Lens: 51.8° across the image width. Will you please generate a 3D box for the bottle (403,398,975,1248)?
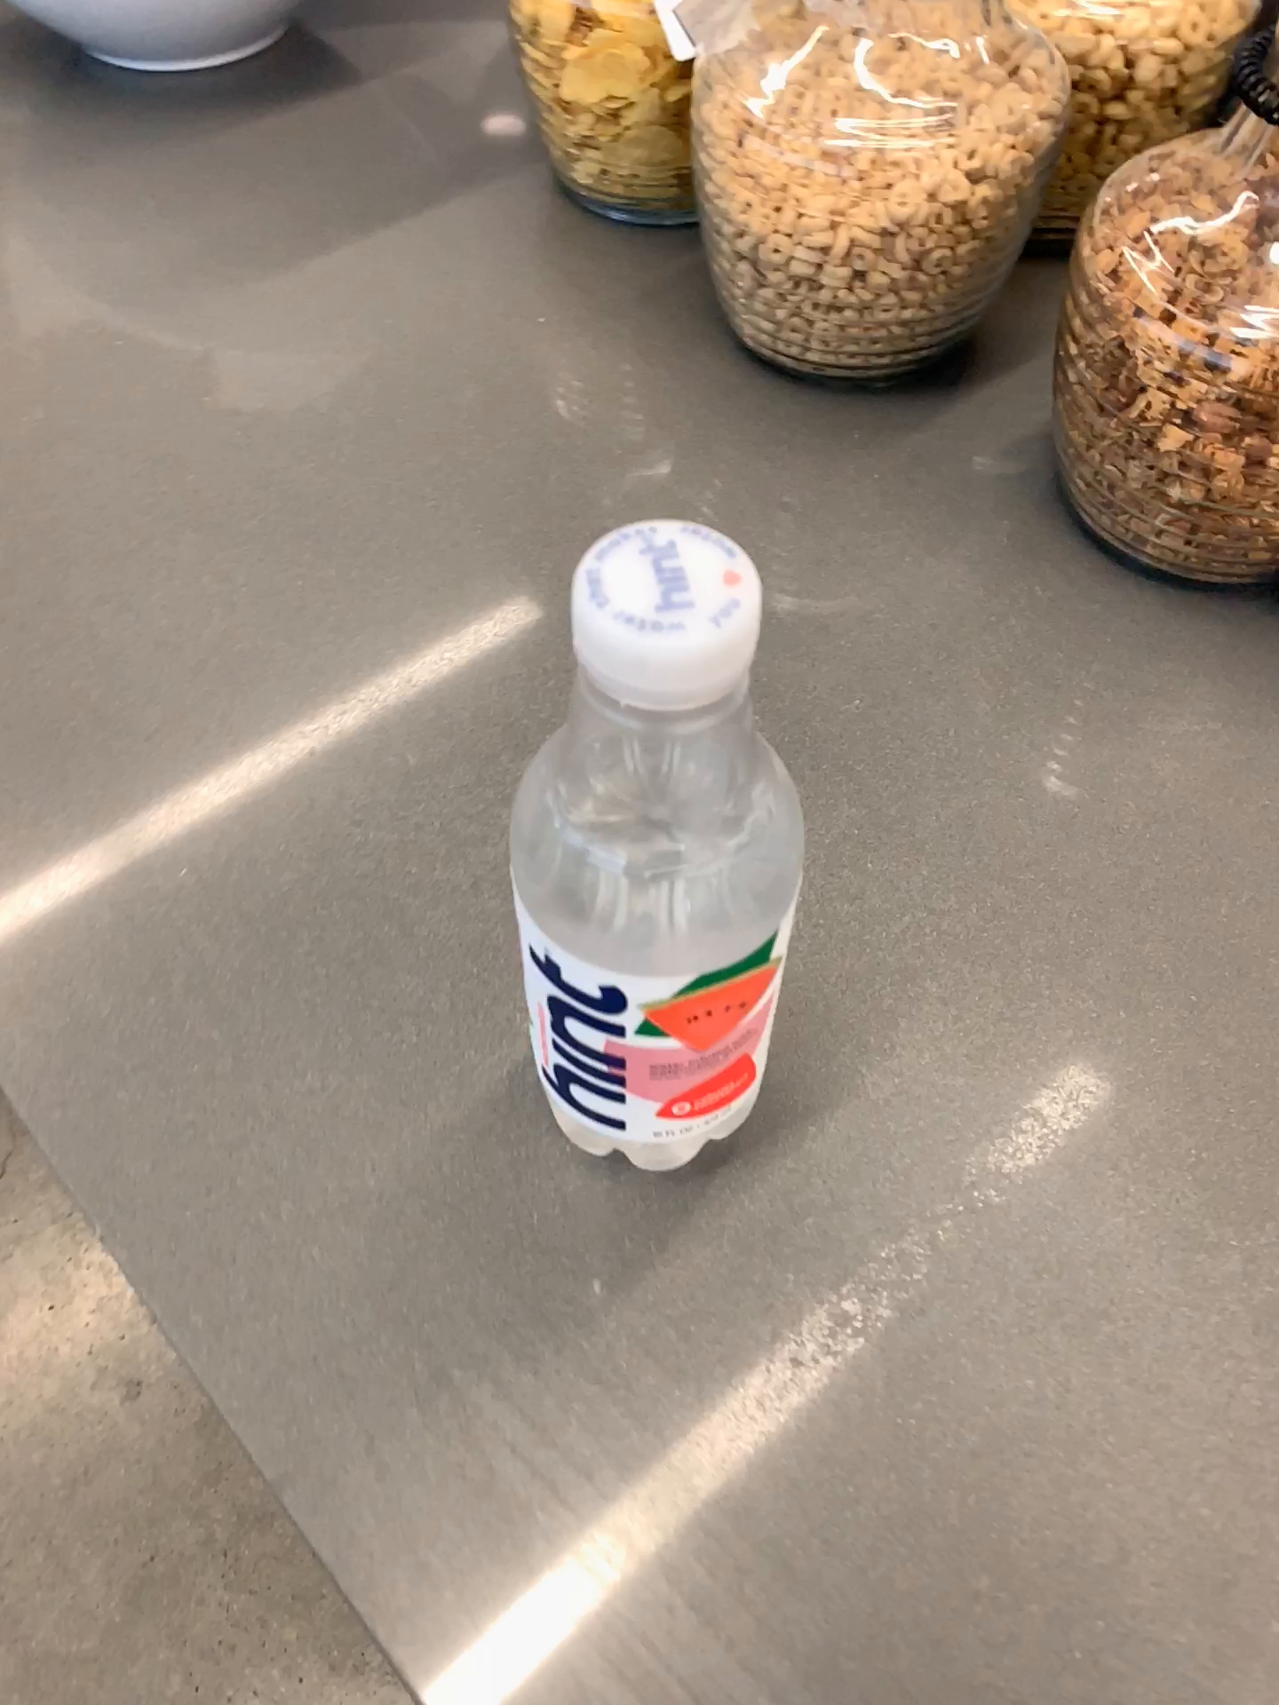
[{"bbox_3d":[0.007,0.010,0.308,0.070,0.199,0.070,0,54,-1],"label":"bottle"}]
